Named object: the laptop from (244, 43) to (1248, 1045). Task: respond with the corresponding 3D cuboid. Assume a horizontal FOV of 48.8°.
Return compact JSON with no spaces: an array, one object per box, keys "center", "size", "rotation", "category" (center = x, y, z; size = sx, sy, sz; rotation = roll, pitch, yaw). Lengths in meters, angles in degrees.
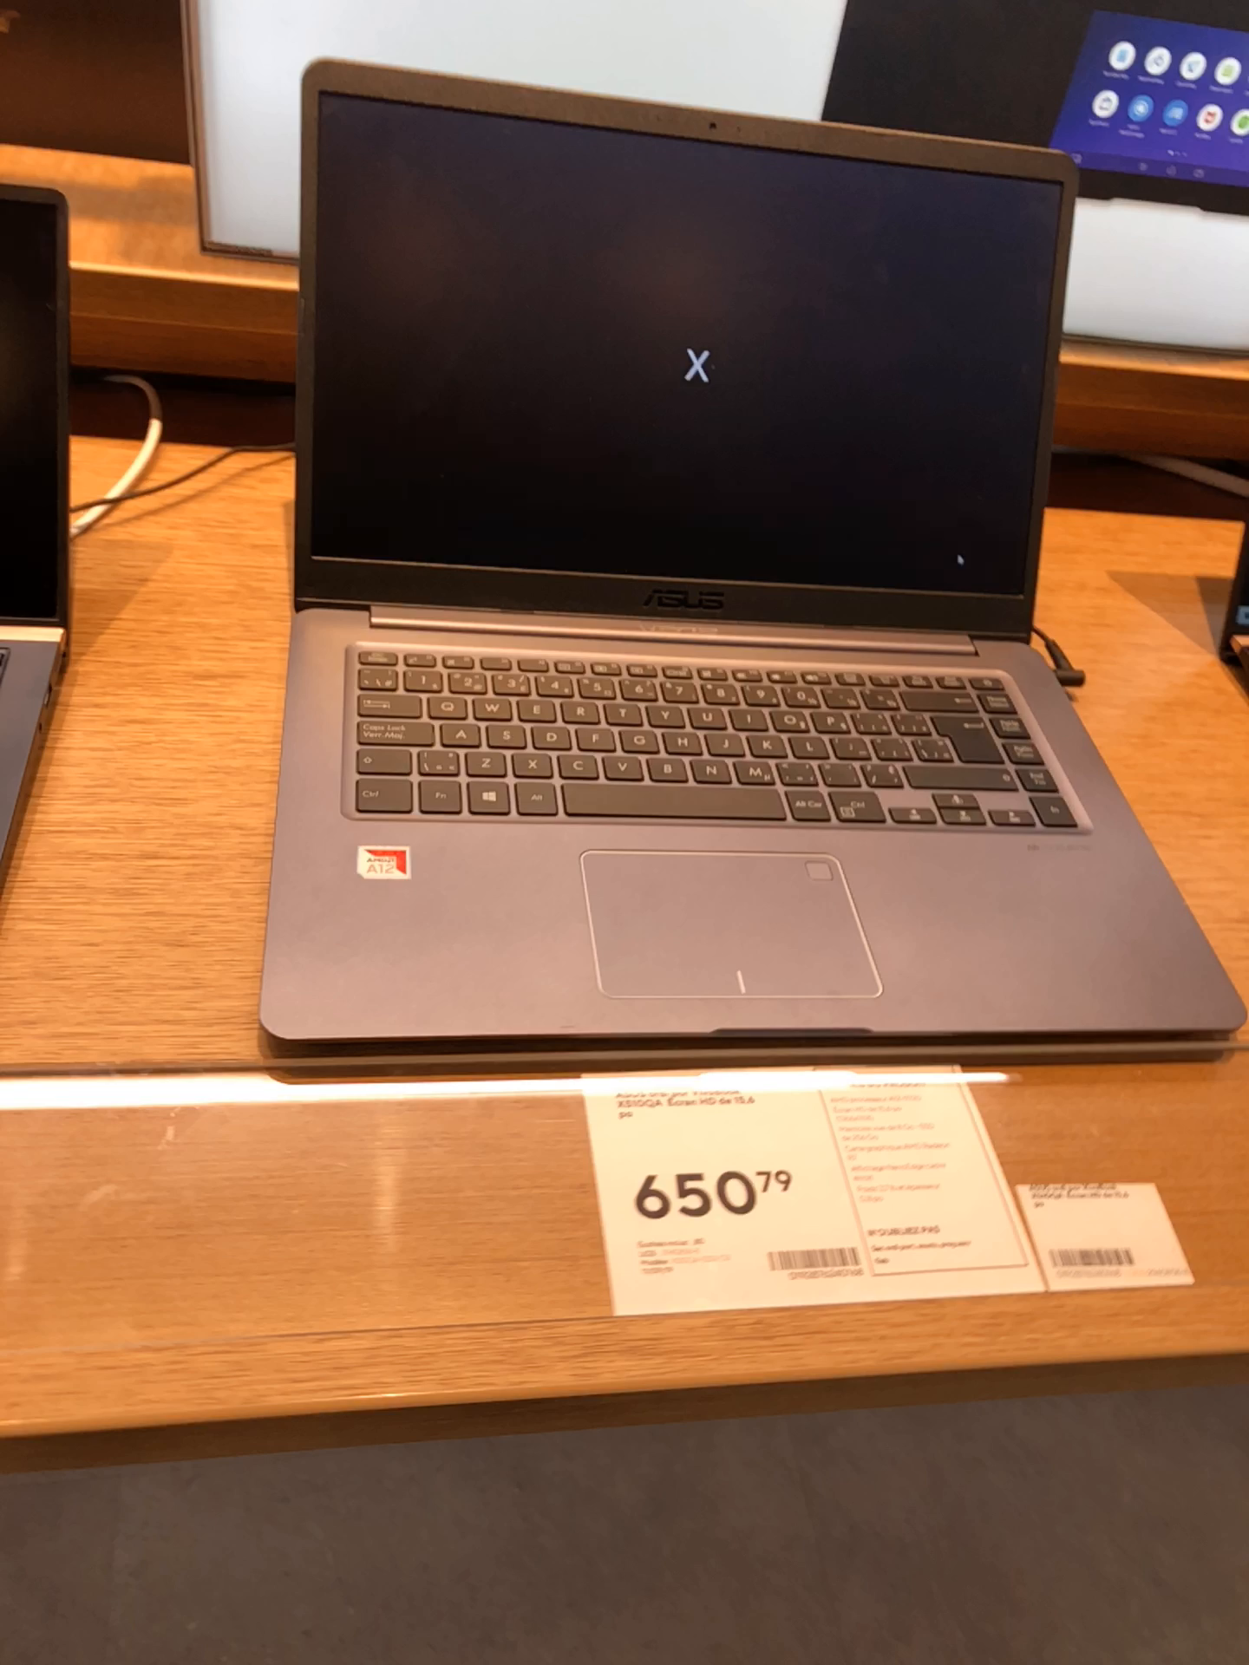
[{"center":[0.046,-0.132,0.548],"size":[0.352,0.177,0.392],"rotation":[1,44,-12],"category":"laptop"}]
